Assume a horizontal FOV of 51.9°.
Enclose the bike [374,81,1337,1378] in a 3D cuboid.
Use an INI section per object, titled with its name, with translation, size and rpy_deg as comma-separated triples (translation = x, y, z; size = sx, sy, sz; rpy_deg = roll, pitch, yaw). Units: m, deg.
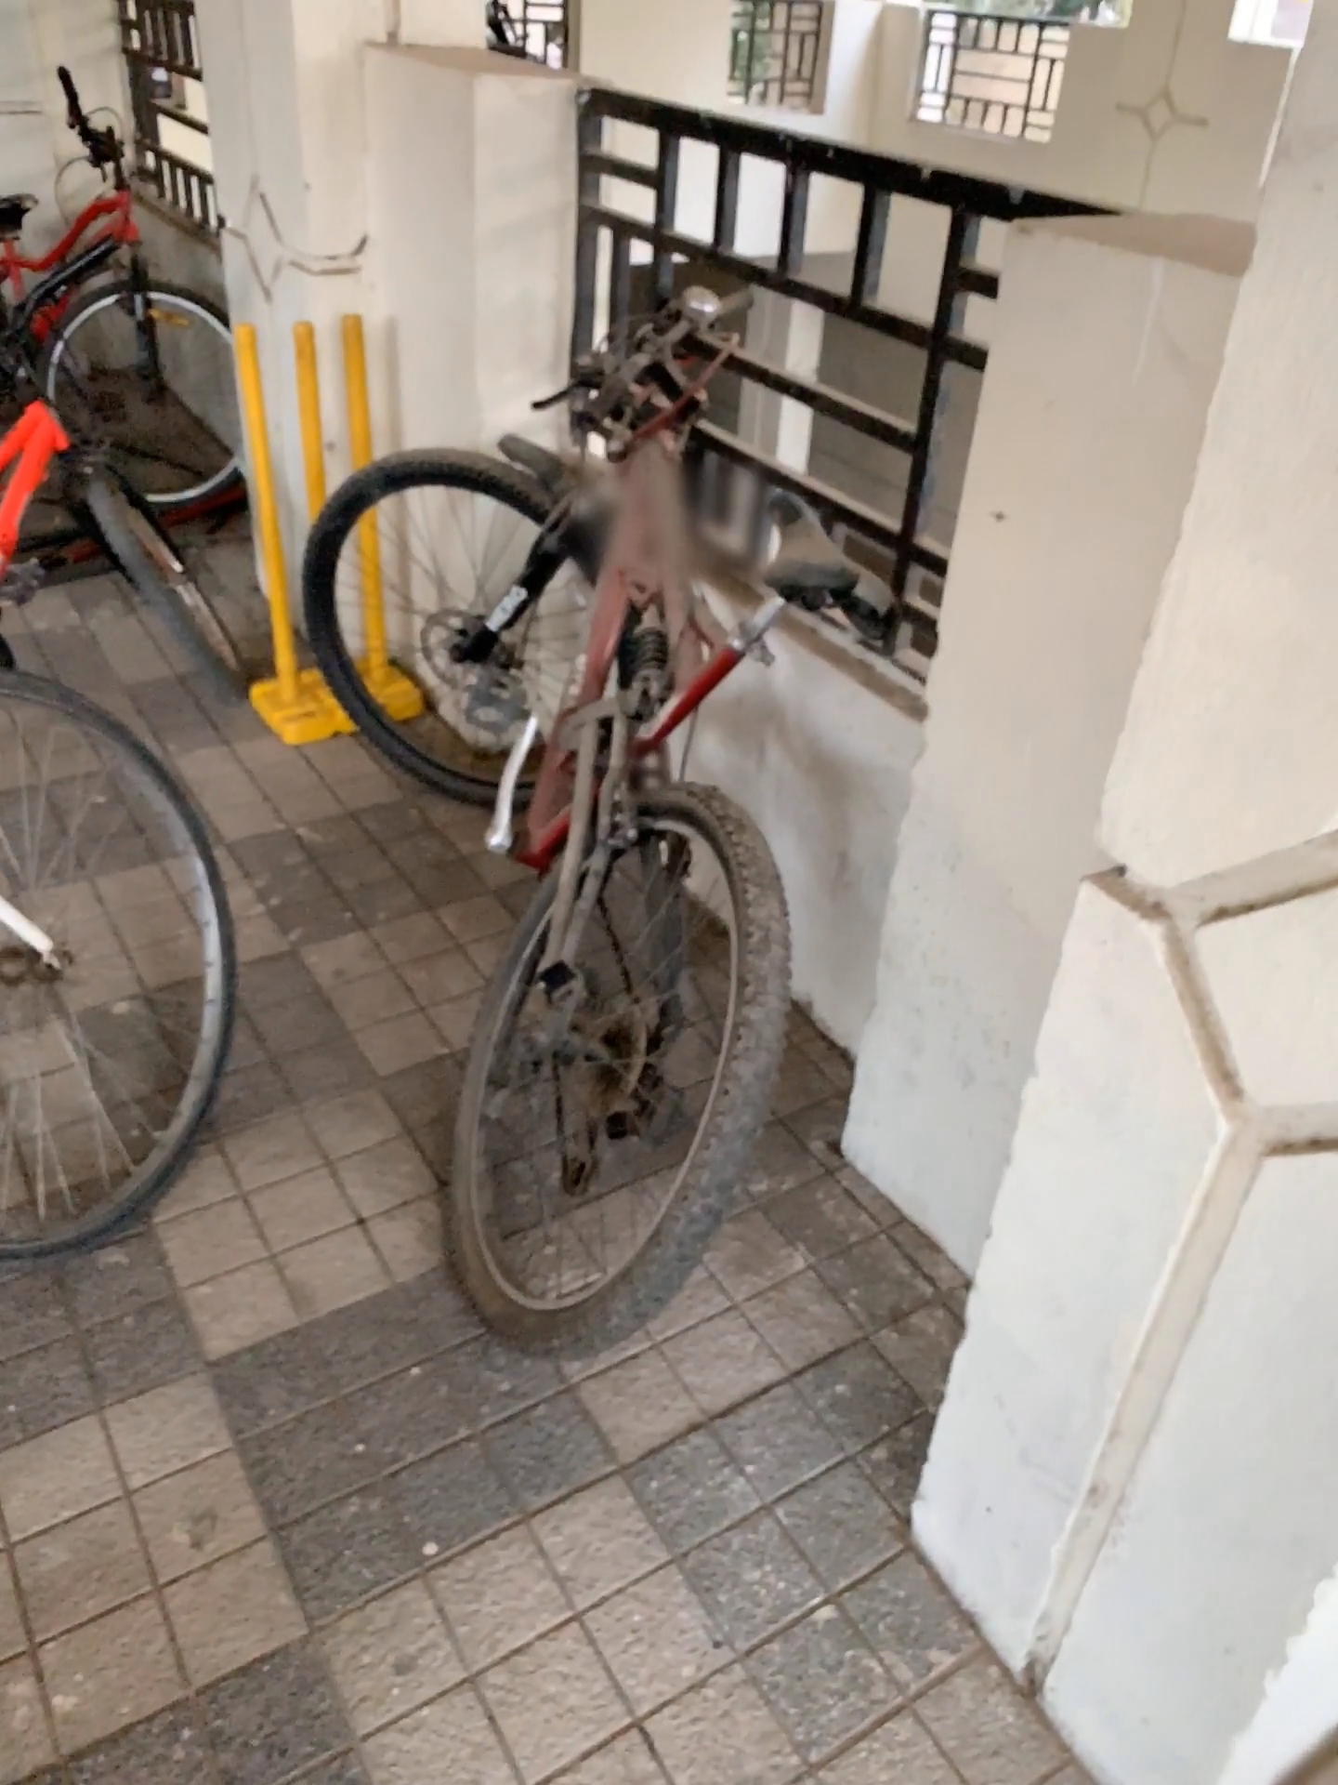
[bike]
translation = 0.083, -0.369, 1.842
size = 0.608, 0.830, 1.471
rpy_deg = -9, 44, -19
